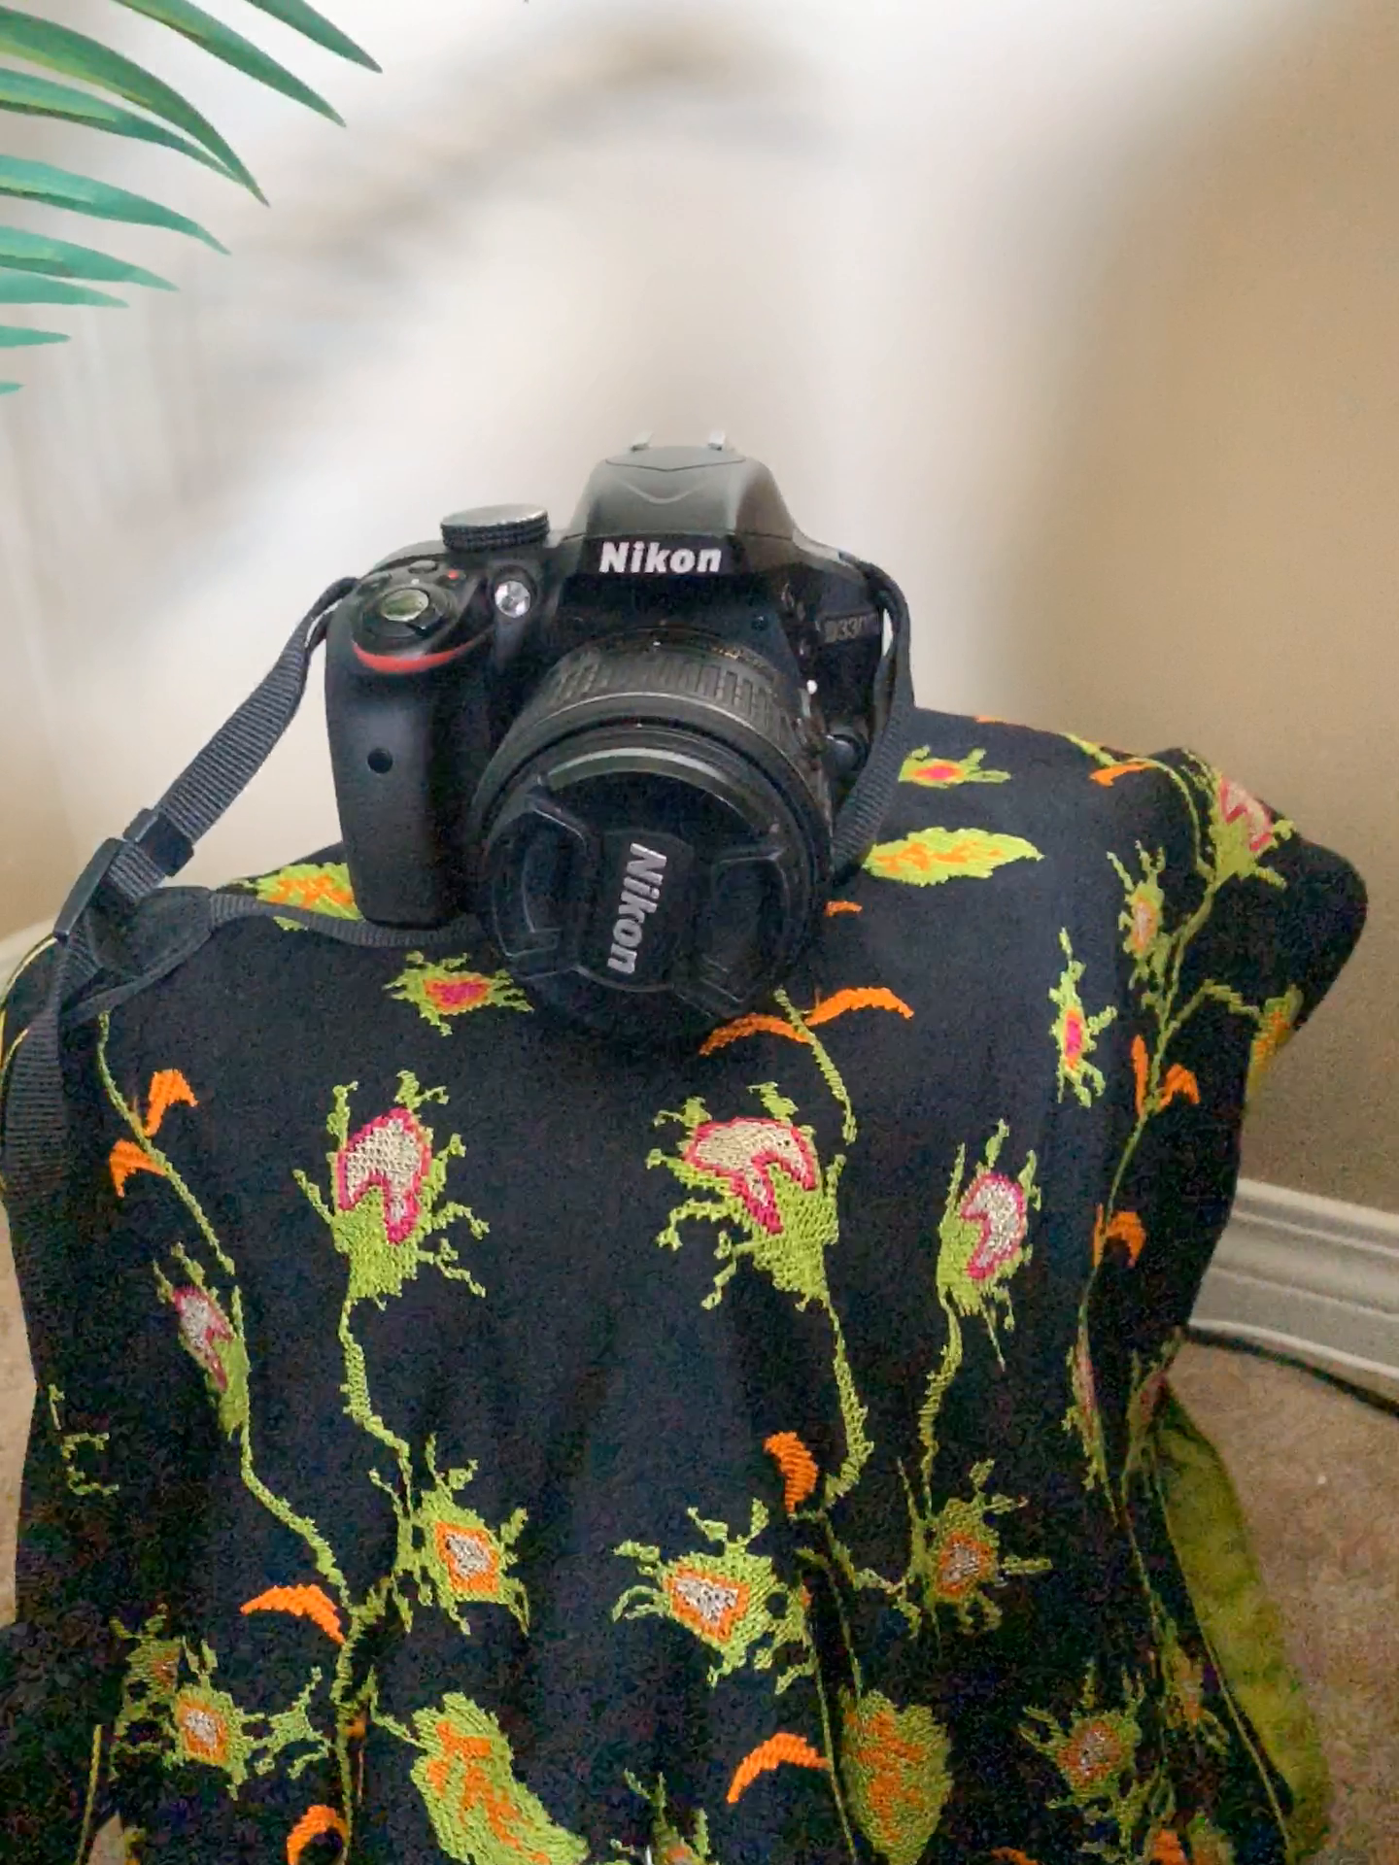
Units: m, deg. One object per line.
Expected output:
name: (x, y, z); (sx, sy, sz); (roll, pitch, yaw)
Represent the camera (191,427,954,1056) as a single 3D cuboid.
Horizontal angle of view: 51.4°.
camera: (-0.018, -0.042, 0.289); (0.120, 0.099, 0.091); (-1, 24, 2)
